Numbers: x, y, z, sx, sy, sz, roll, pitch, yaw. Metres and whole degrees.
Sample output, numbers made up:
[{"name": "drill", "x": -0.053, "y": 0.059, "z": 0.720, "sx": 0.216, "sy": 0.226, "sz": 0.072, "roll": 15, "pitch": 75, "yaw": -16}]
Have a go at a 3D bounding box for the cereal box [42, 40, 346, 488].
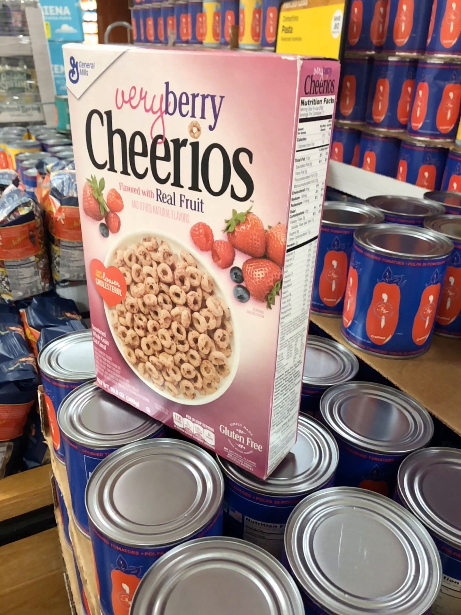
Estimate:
[{"name": "cereal box", "x": -0.036, "y": -0.037, "z": 0.383, "sx": 0.200, "sy": 0.288, "sz": 0.060, "roll": 20, "pitch": 32, "yaw": 32}]
